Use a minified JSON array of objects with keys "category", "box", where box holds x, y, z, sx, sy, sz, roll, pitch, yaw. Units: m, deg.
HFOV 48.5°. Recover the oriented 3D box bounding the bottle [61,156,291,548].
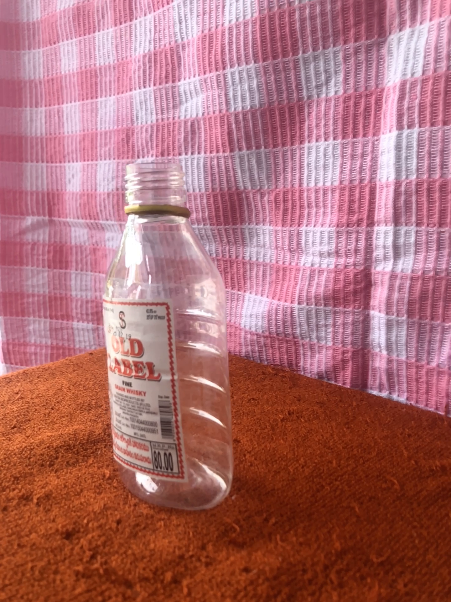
[{"category":"bottle","box":[-0.019,0.013,0.201,0.050,0.130,0.070,-13,15,-41]}]
